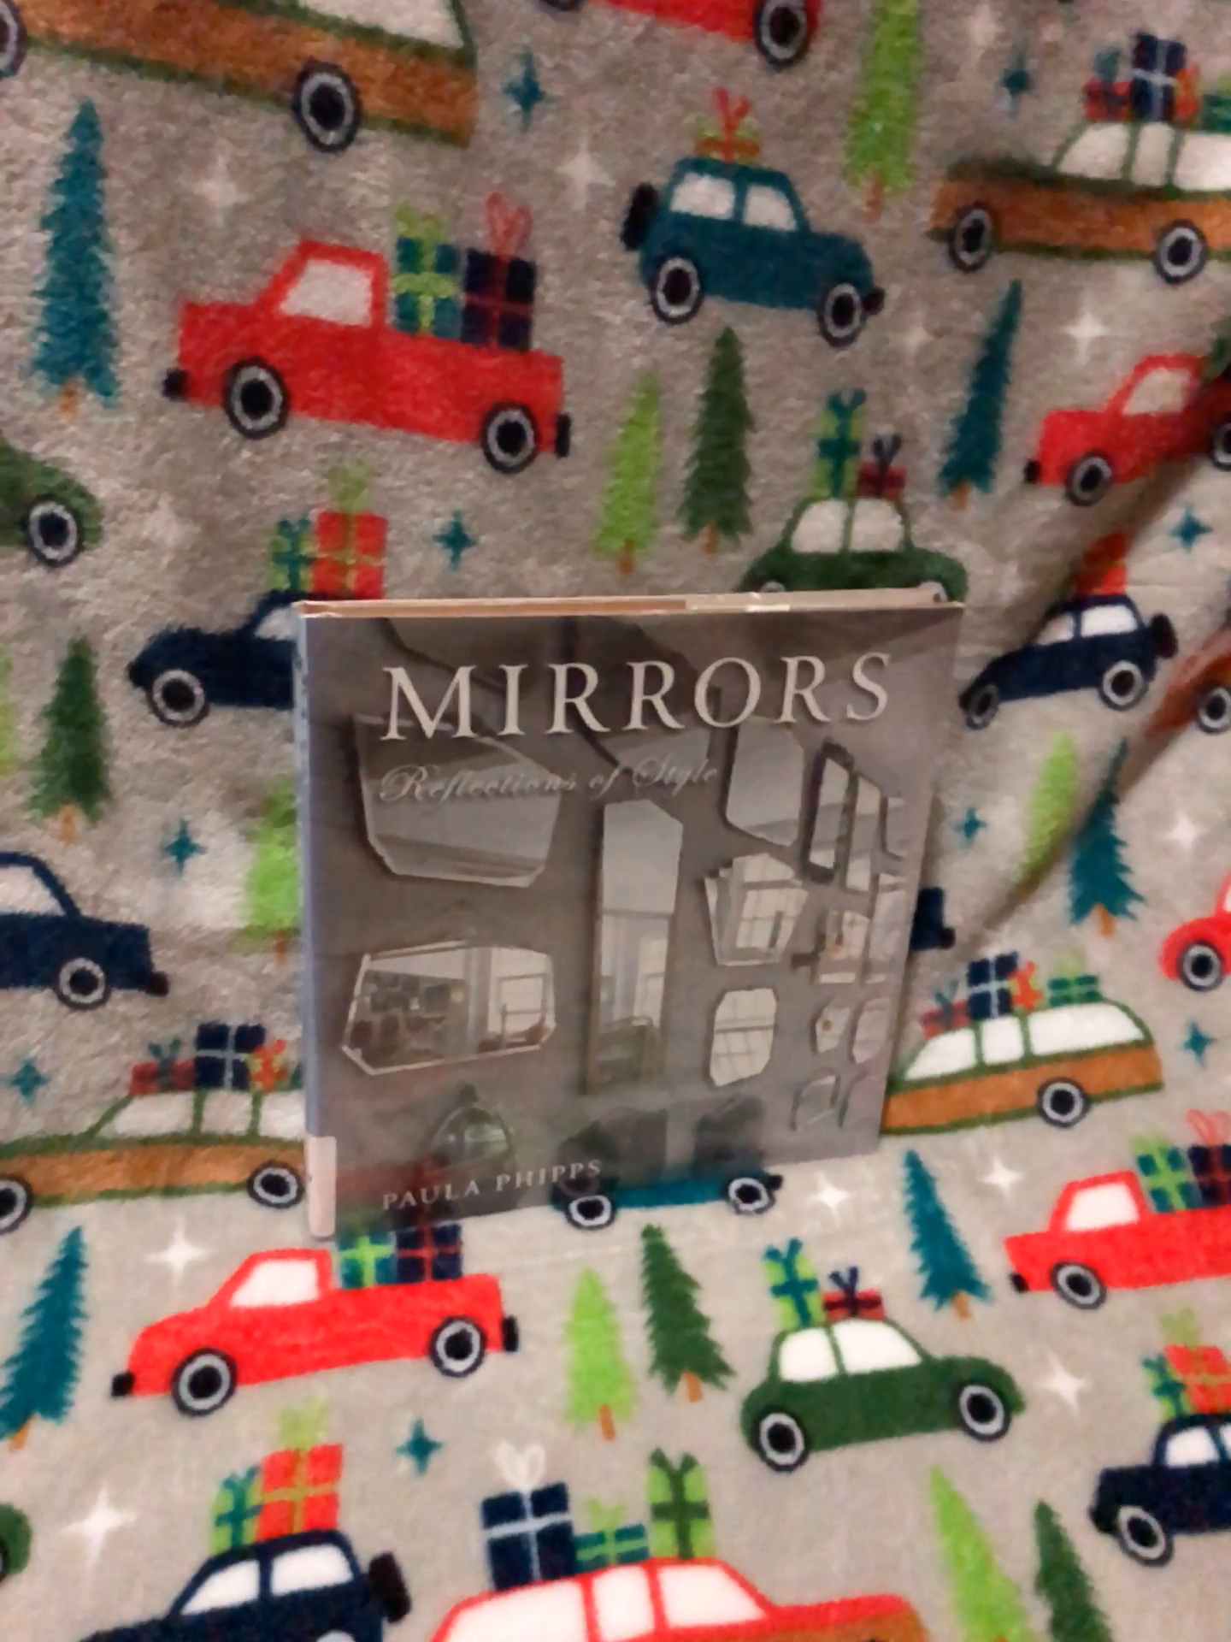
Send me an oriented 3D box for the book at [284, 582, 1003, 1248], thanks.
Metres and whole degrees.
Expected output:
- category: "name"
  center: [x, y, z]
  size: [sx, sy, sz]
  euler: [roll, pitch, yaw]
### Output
- category: "book"
  center: [0.008, 0.028, 0.453]
  size: [0.223, 0.208, 0.030]
  euler: [-4, 24, -20]
